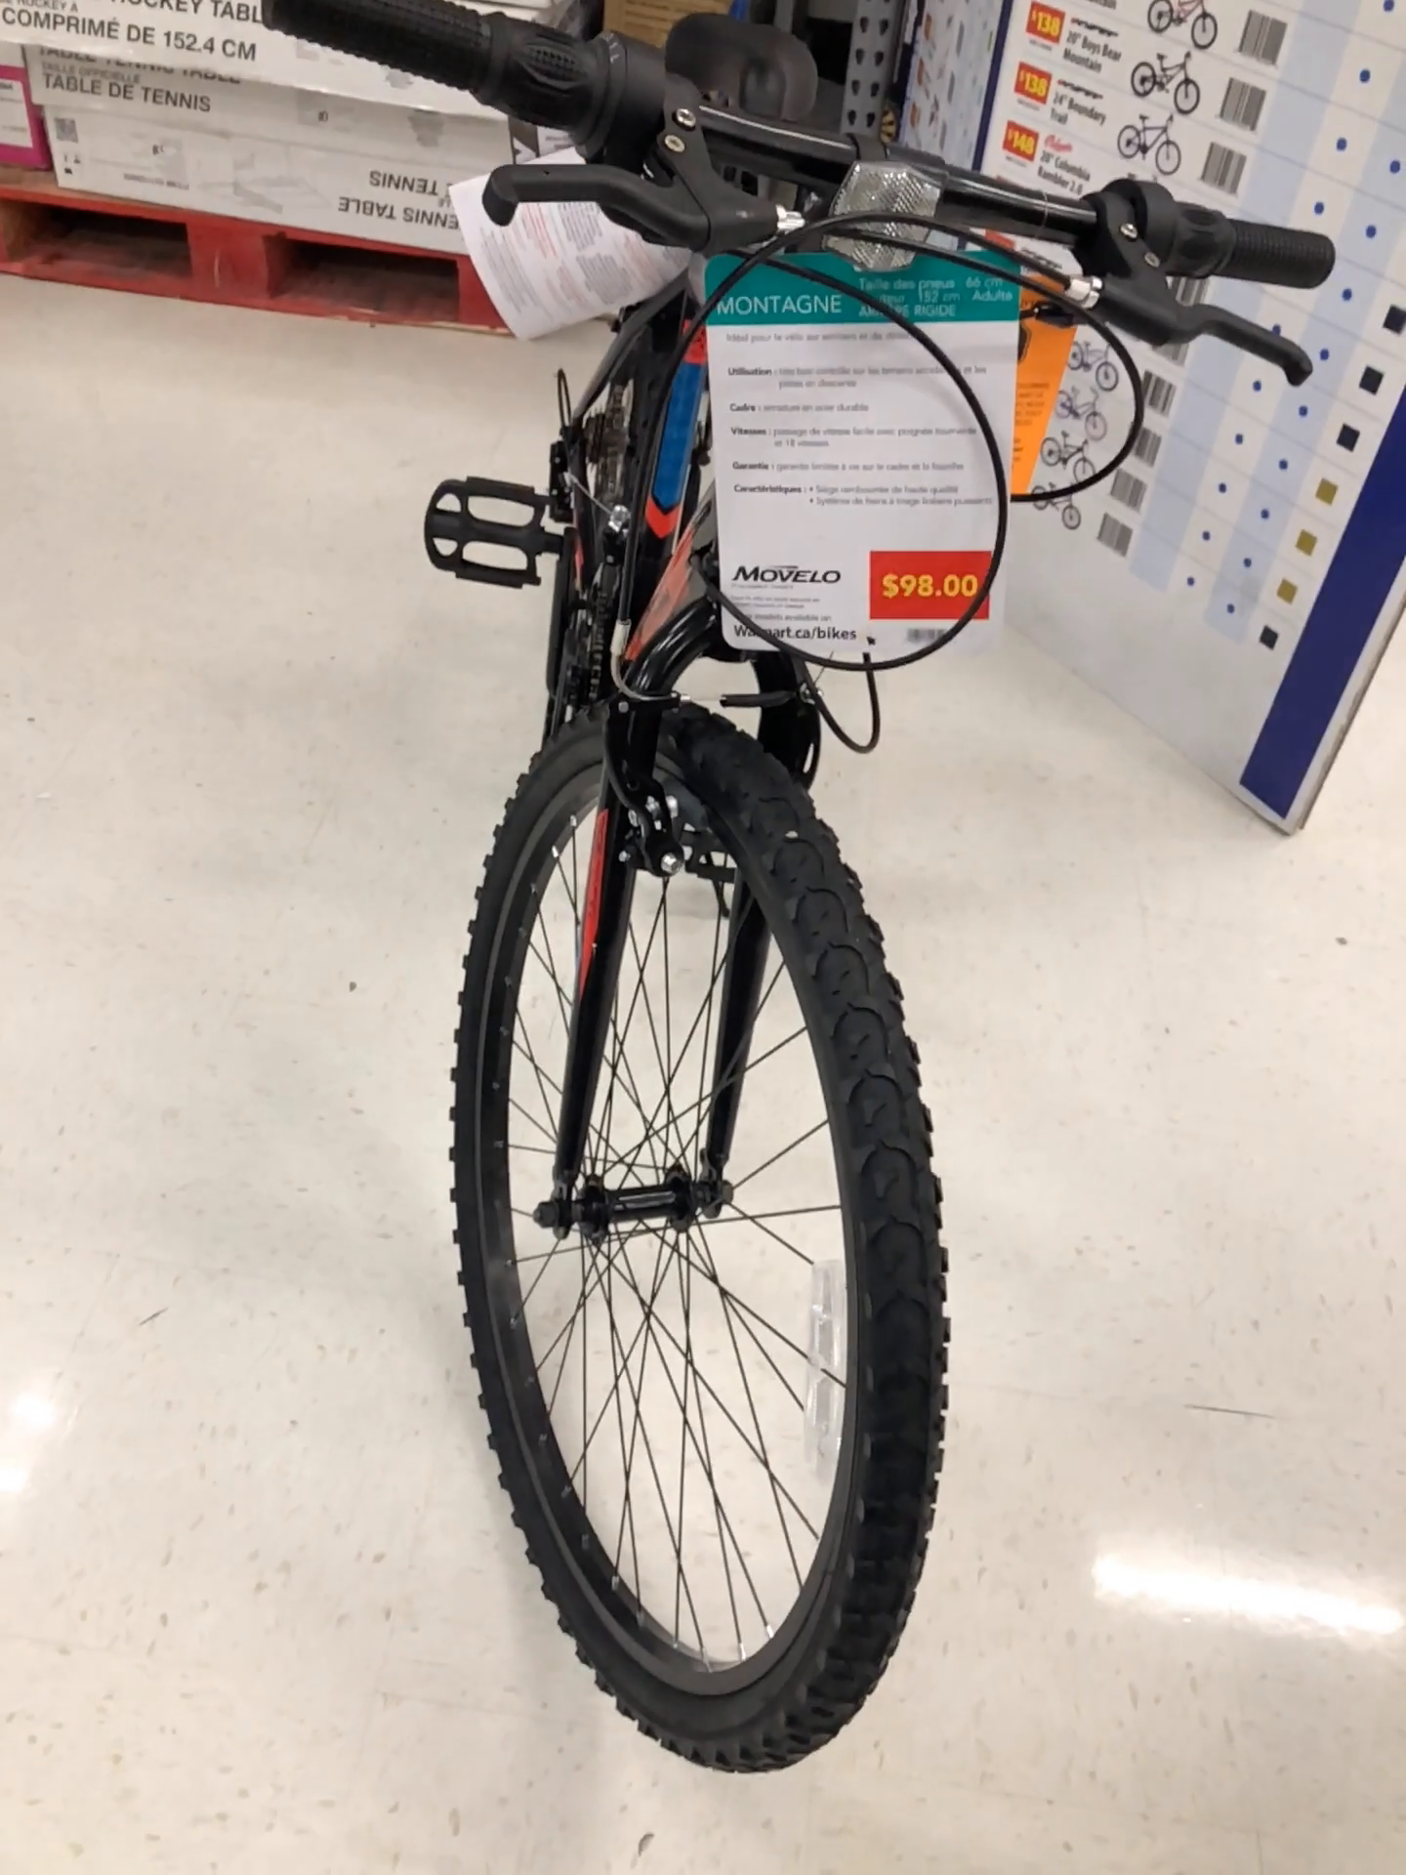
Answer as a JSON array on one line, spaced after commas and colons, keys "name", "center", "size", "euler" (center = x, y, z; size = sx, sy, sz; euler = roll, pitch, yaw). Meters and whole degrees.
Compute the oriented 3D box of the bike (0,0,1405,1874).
[{"name": "bike", "center": [-0.007, -0.207, 1.078], "size": [0.559, 0.942, 1.293], "euler": [1, 43, -5]}]
